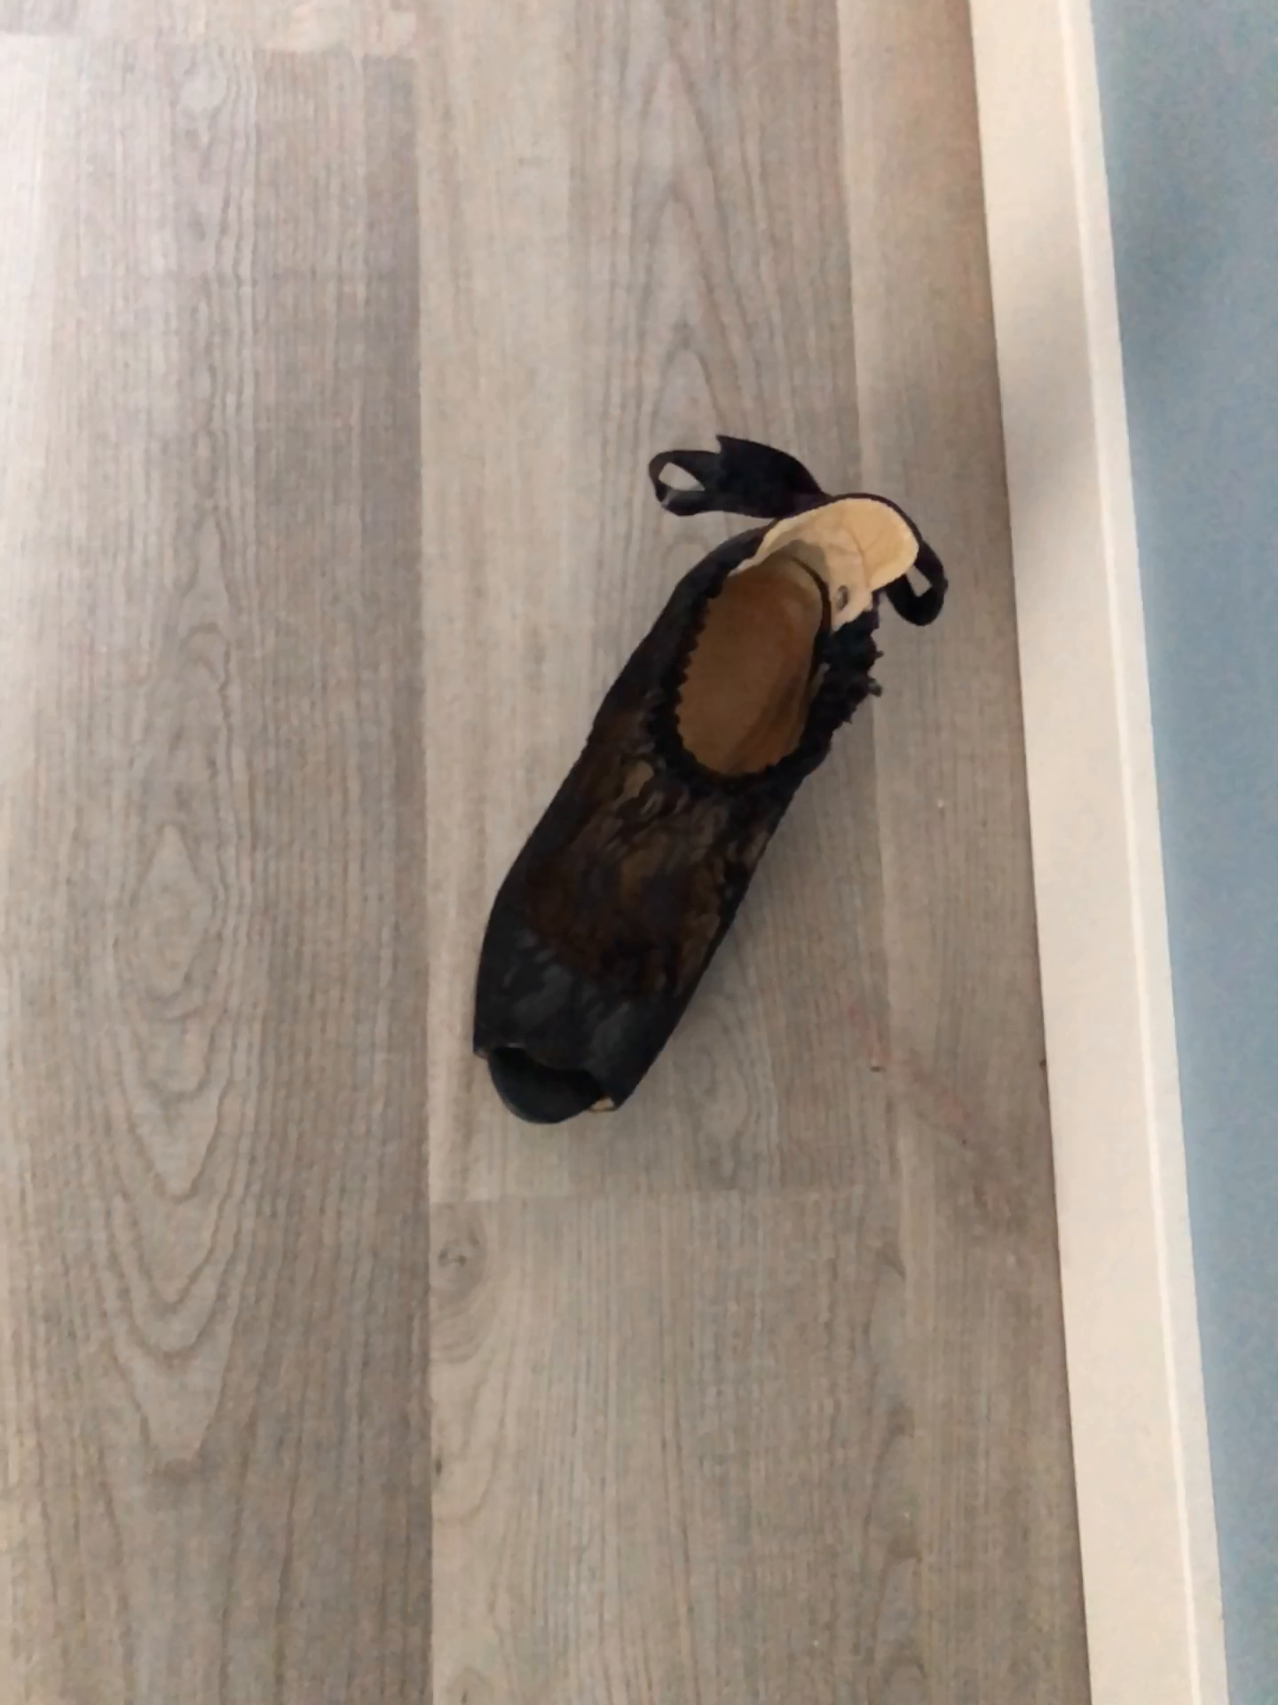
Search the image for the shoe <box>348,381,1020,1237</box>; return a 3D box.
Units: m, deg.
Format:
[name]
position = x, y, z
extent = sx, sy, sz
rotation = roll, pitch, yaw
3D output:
[shoe]
position = 0.008, -0.007, 0.460
extent = 0.100, 0.140, 0.220
rotation = 28, 78, -3
